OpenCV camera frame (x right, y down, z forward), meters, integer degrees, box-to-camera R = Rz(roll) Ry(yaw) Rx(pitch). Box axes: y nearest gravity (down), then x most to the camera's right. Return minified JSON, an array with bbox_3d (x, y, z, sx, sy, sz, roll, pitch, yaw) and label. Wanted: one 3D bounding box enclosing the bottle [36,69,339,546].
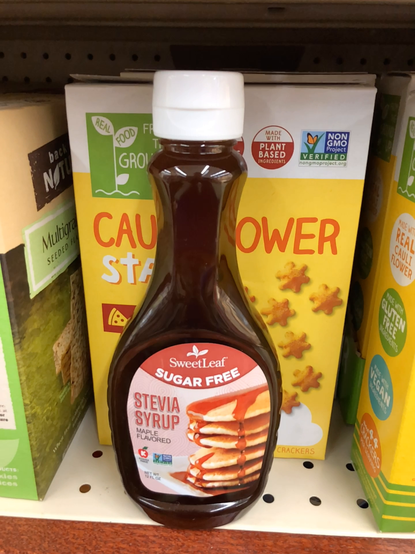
[{"bbox_3d":[-0.008,0.023,0.207,0.092,0.211,0.051,0,24,-2],"label":"bottle"}]
